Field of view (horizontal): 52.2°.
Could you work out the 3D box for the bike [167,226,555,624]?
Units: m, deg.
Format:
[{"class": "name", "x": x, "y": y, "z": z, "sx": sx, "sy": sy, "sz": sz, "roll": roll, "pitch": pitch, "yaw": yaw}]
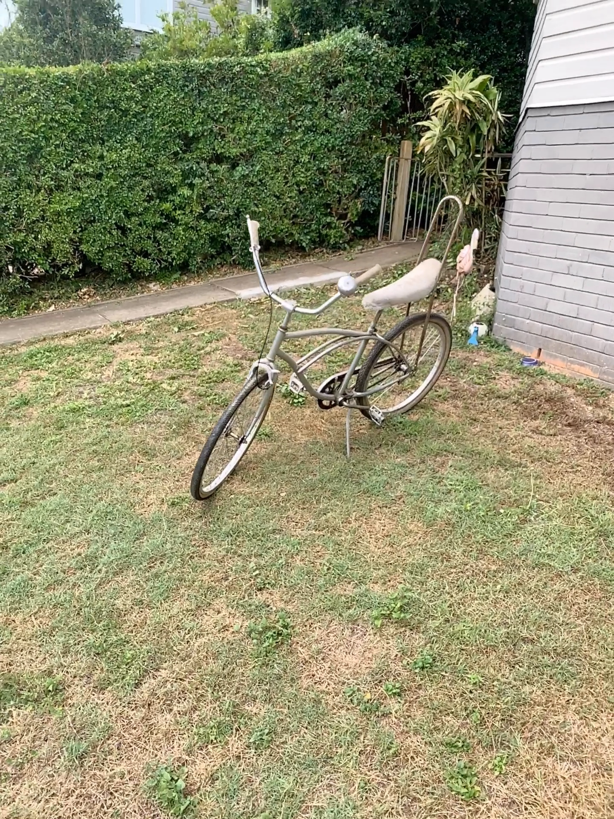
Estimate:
[{"class": "bike", "x": 0.252, "y": -0.114, "z": 2.863, "sx": 1.603, "sy": 0.991, "sz": 0.802, "roll": -23, "pitch": 31, "yaw": -36}]
